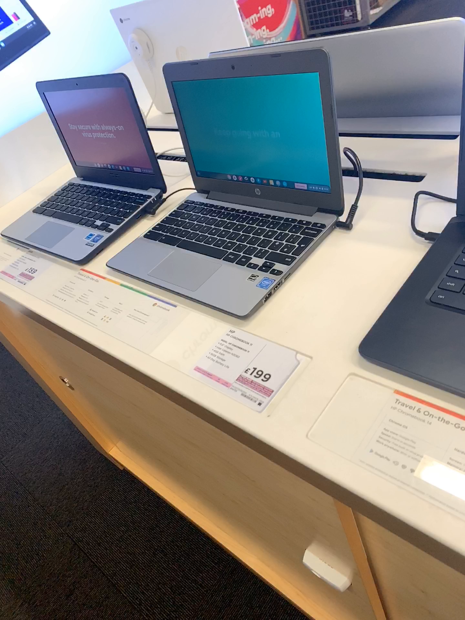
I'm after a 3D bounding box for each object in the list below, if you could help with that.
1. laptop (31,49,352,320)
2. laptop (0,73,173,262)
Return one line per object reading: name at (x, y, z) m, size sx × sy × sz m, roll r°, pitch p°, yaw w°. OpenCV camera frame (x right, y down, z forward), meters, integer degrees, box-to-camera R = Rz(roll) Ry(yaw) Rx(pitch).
laptop at (-0.046, -0.167, 0.595) m, size 0.278 × 0.185 × 0.229 m, roll 20°, pitch 56°, yaw 41°
laptop at (-0.300, -0.251, 0.810) m, size 0.288 × 0.180 × 0.222 m, roll 19°, pitch 56°, yaw 39°
